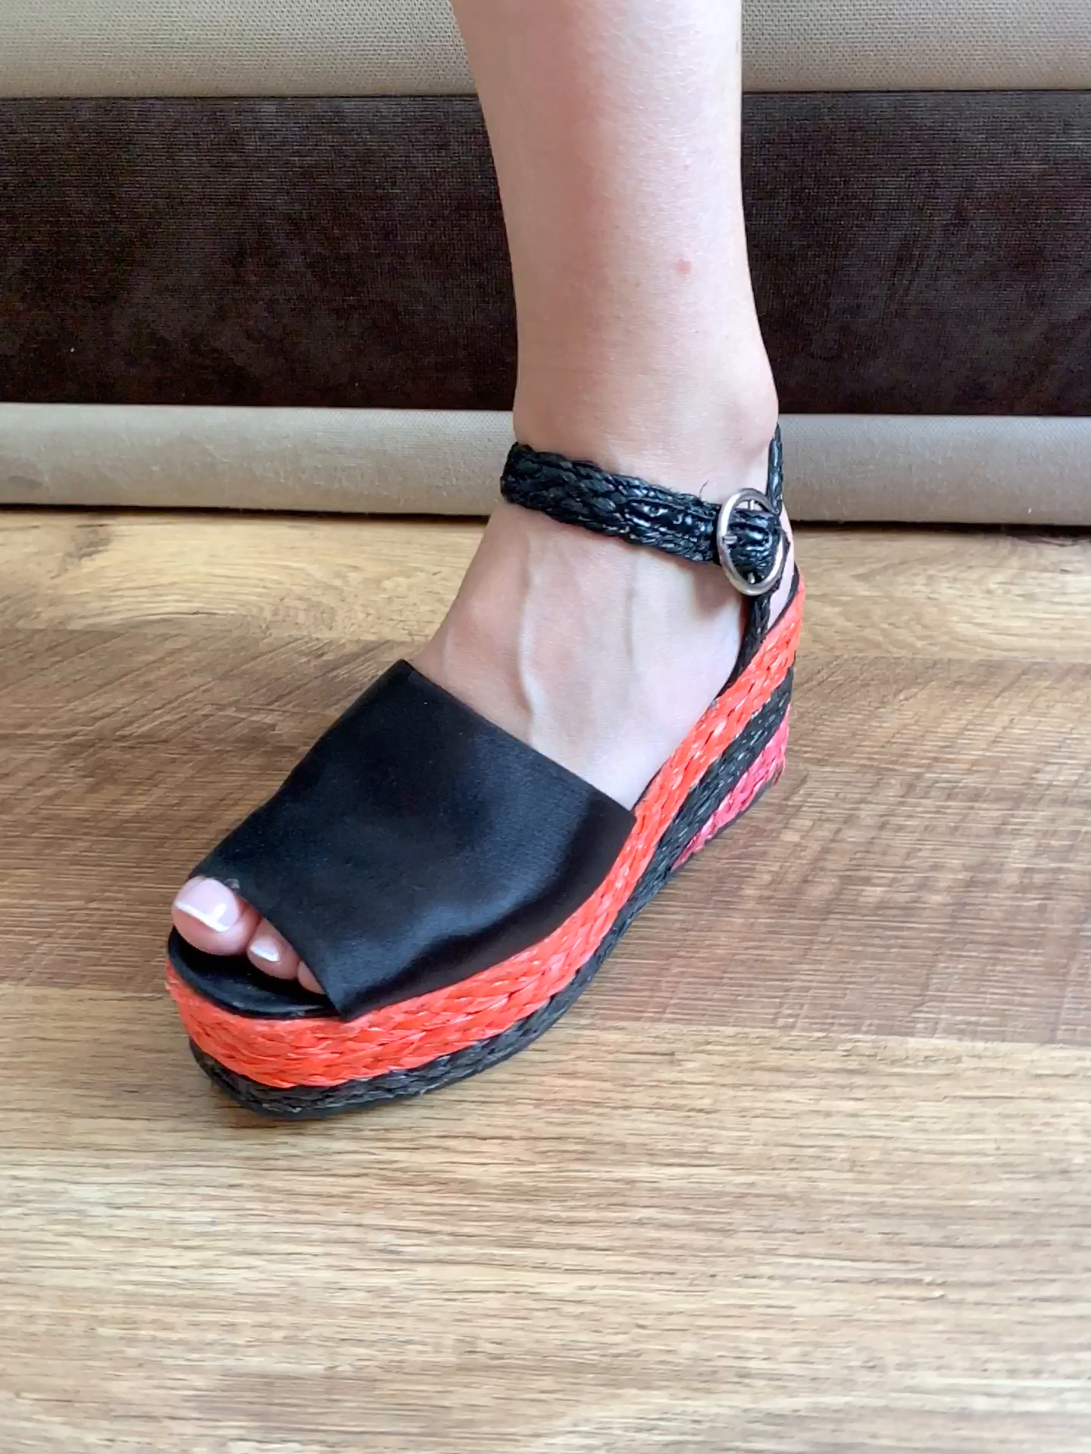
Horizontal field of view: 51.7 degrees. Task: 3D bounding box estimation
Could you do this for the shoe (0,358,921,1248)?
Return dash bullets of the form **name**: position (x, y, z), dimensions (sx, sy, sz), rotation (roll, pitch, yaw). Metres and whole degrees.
- **shoe**: position (-0.007, 0.001, 0.320), dimensions (0.089, 0.124, 0.240), rotation (31, 49, 33)
